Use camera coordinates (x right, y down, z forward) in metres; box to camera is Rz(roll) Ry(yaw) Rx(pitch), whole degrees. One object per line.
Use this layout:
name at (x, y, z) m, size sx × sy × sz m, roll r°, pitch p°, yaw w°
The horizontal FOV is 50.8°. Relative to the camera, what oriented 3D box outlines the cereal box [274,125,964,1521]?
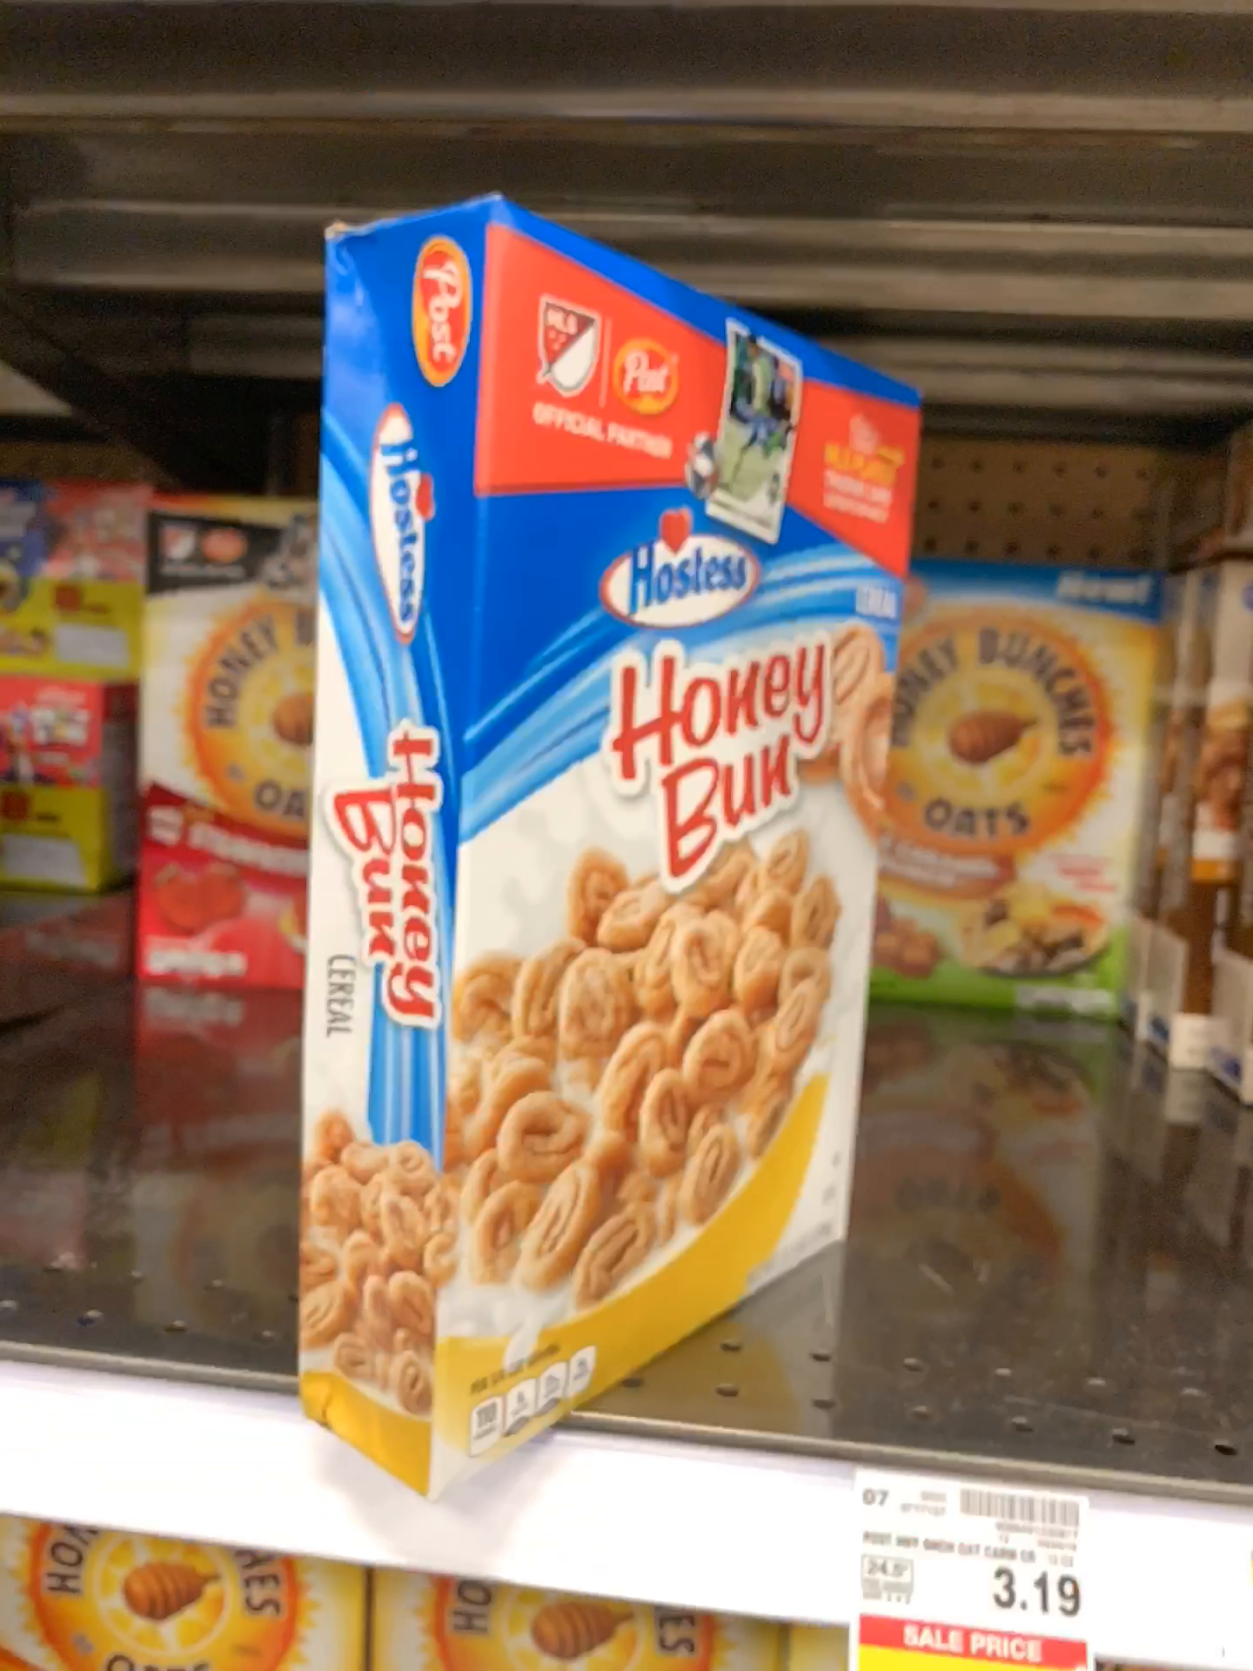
cereal box at (0.010, -0.004, 0.359) m, size 0.060 × 0.280 × 0.200 m, roll 8°, pitch 8°, yaw 38°
